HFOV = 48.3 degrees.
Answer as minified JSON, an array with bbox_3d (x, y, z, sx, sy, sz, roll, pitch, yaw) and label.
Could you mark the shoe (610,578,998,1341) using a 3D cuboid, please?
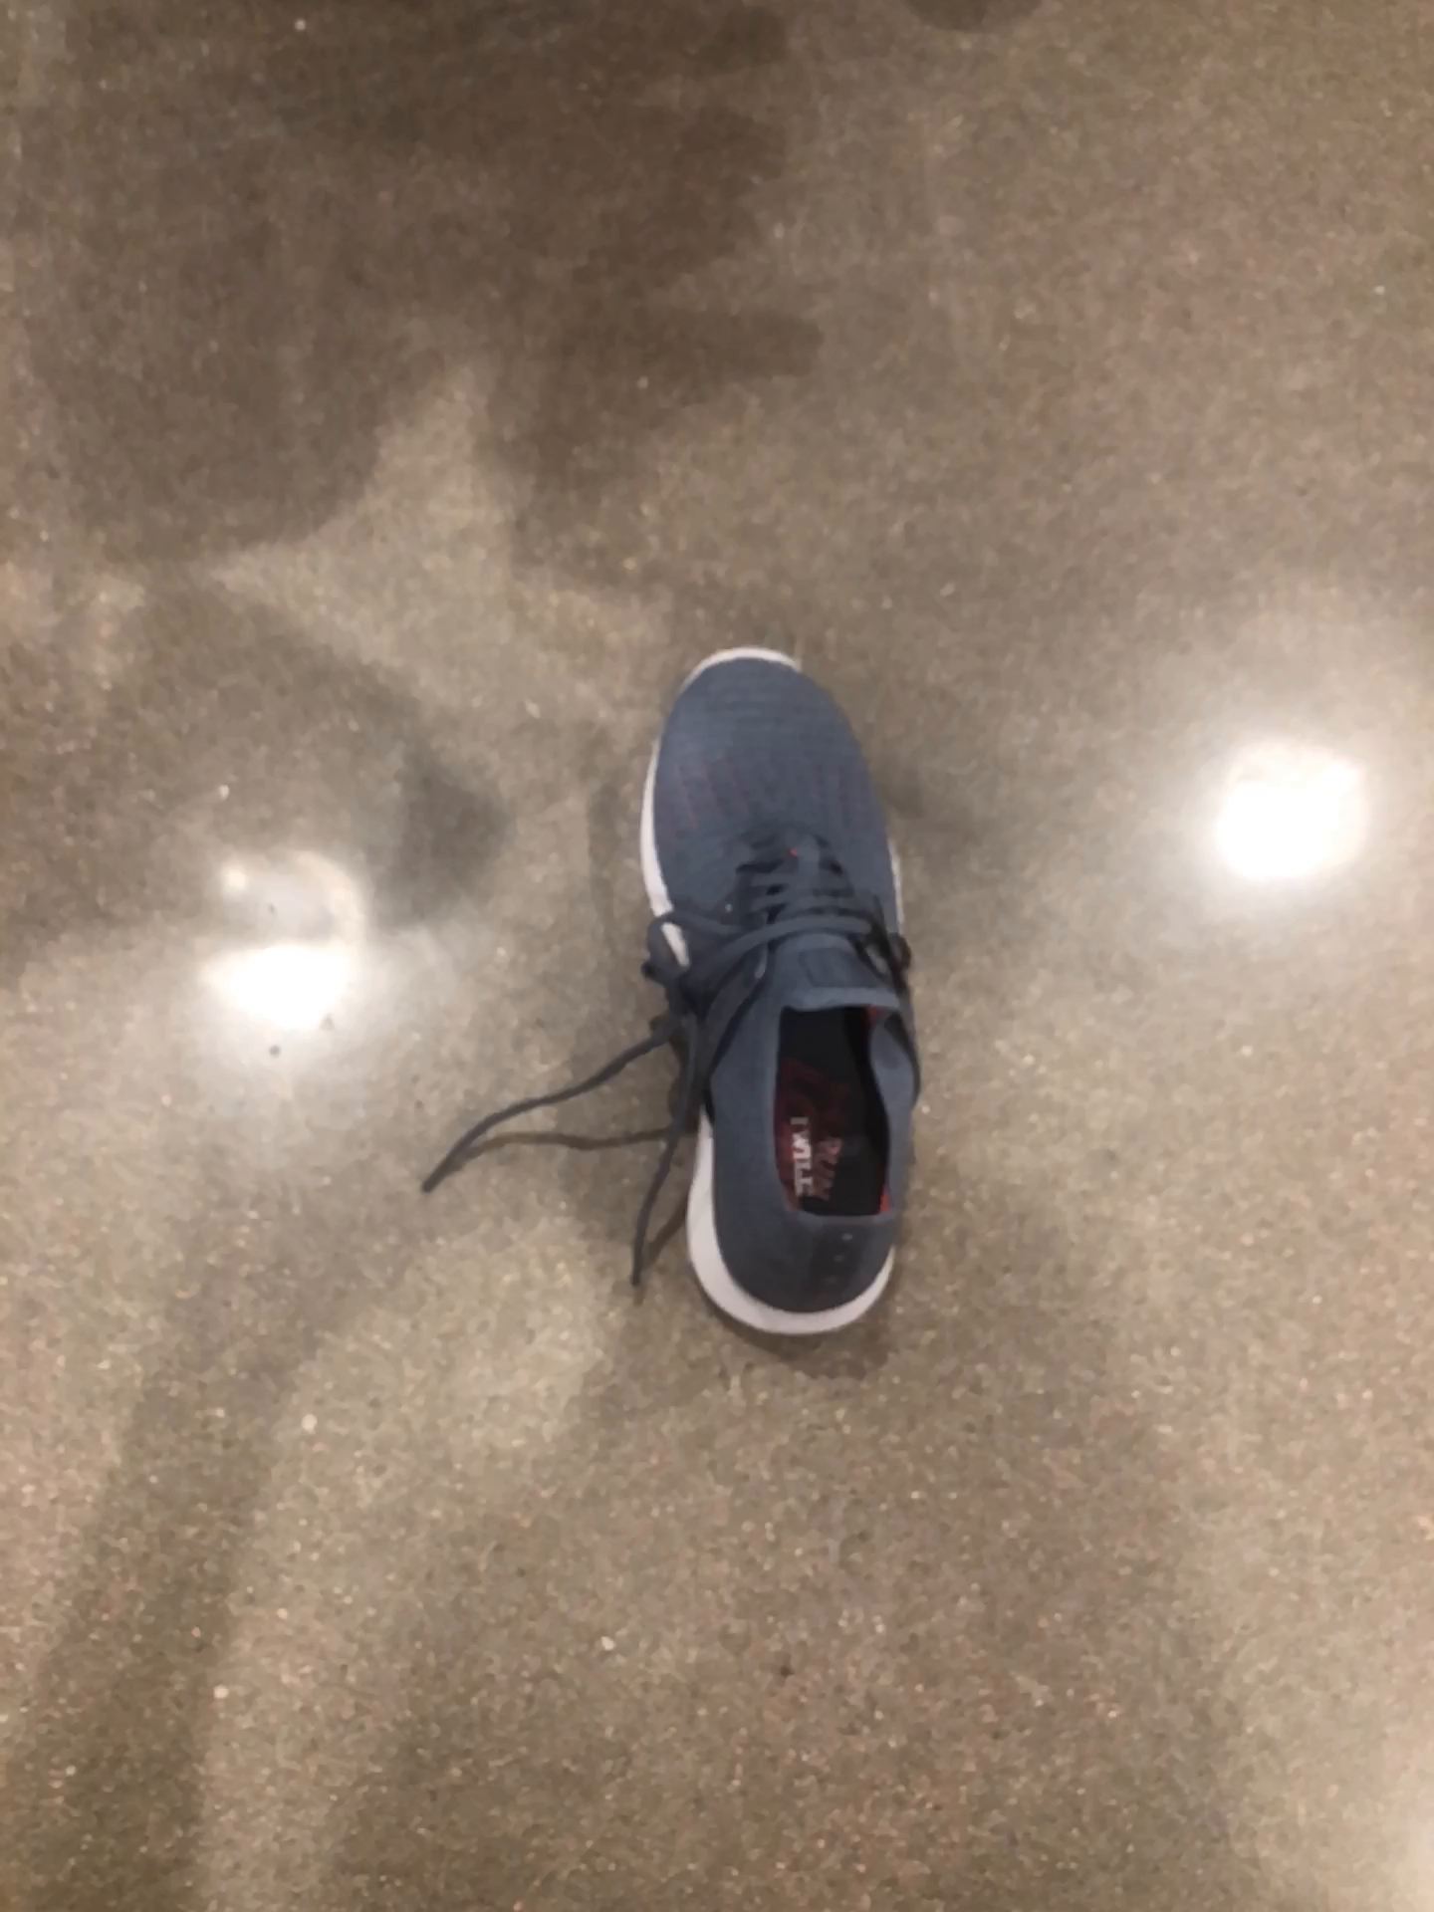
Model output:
[{"bbox_3d":[0.021,0.004,0.576,0.100,0.110,0.250,-1,72,-9],"label":"shoe"}]
